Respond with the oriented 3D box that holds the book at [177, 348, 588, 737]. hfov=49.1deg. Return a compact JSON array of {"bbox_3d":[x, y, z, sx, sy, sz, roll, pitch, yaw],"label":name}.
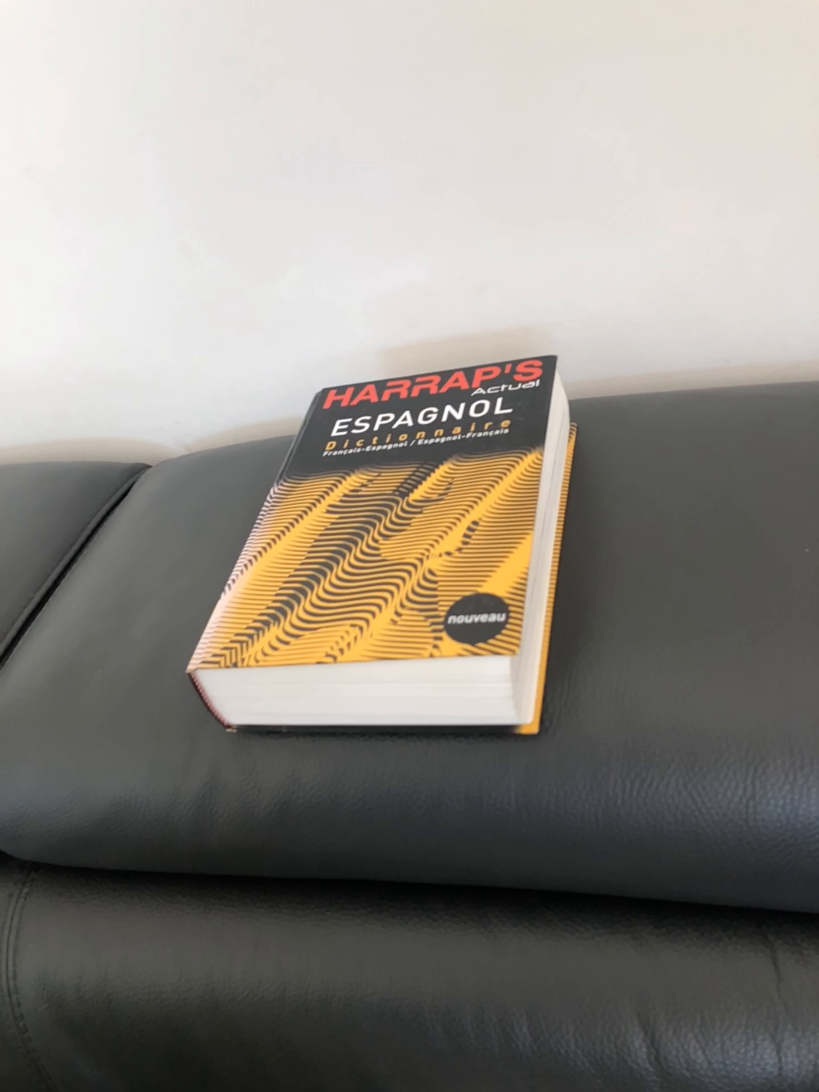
[{"bbox_3d":[0.001,-0.011,0.534,0.185,0.050,0.262,-5,42,21],"label":"book"}]
